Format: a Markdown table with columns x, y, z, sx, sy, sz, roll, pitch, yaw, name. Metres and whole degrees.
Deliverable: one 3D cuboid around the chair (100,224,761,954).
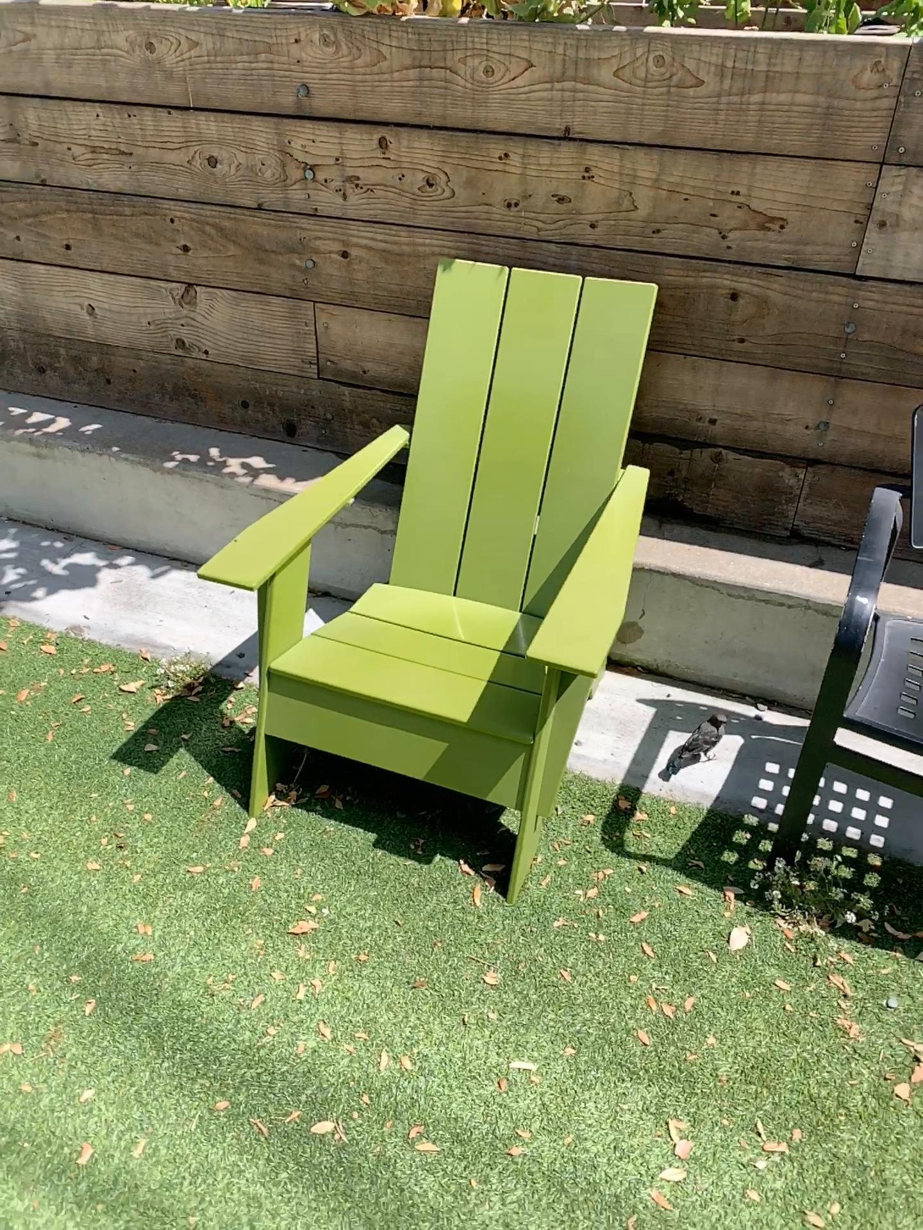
| x | y | z | sx | sy | sz | roll | pitch | yaw | name |
| --- | --- | --- | --- | --- | --- | --- | --- | --- | --- |
| 0.025 | -0.123 | 1.725 | 0.722 | 0.845 | 0.903 | 15 | 39 | 19 | chair |
